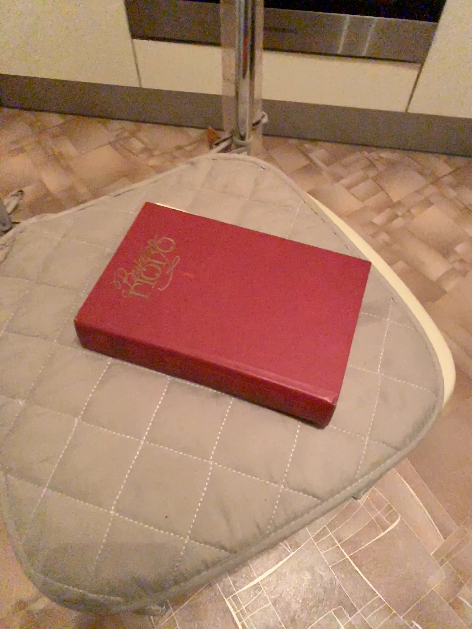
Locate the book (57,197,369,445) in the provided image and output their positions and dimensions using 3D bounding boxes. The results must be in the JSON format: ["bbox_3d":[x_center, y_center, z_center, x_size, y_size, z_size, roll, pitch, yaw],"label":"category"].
[{"bbox_3d":[-0.012,-0.002,0.392,0.200,0.060,0.141,16,60,10],"label":"book"}]
